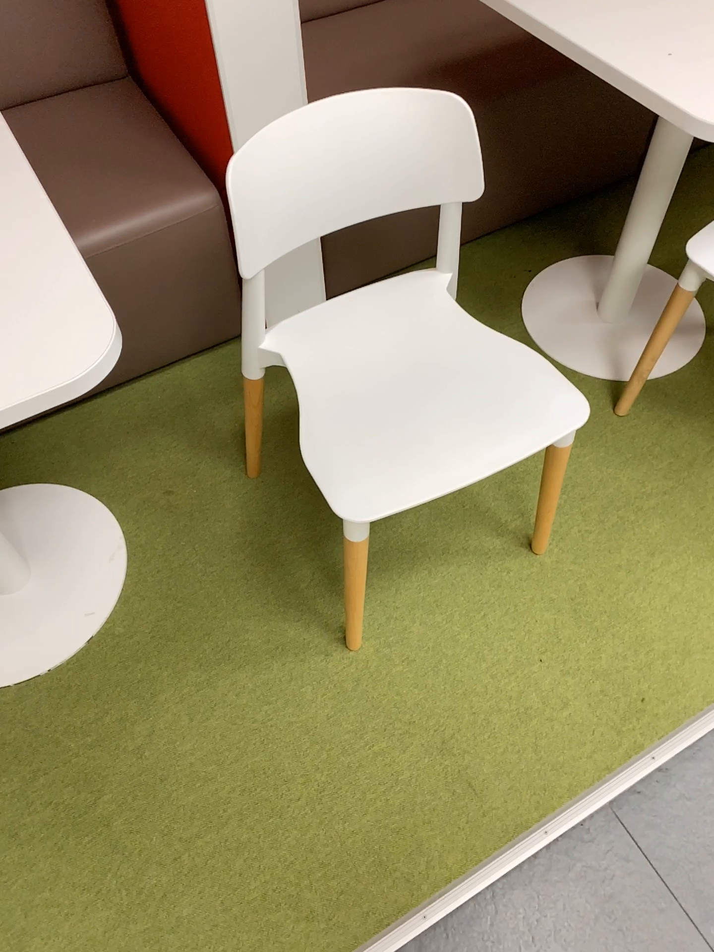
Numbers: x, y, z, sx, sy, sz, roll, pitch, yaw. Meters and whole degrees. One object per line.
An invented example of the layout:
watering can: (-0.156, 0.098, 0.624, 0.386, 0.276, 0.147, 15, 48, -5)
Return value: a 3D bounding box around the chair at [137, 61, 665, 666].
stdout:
chair: (0.042, -0.141, 1.262, 0.500, 0.787, 0.501, -23, 57, -14)
